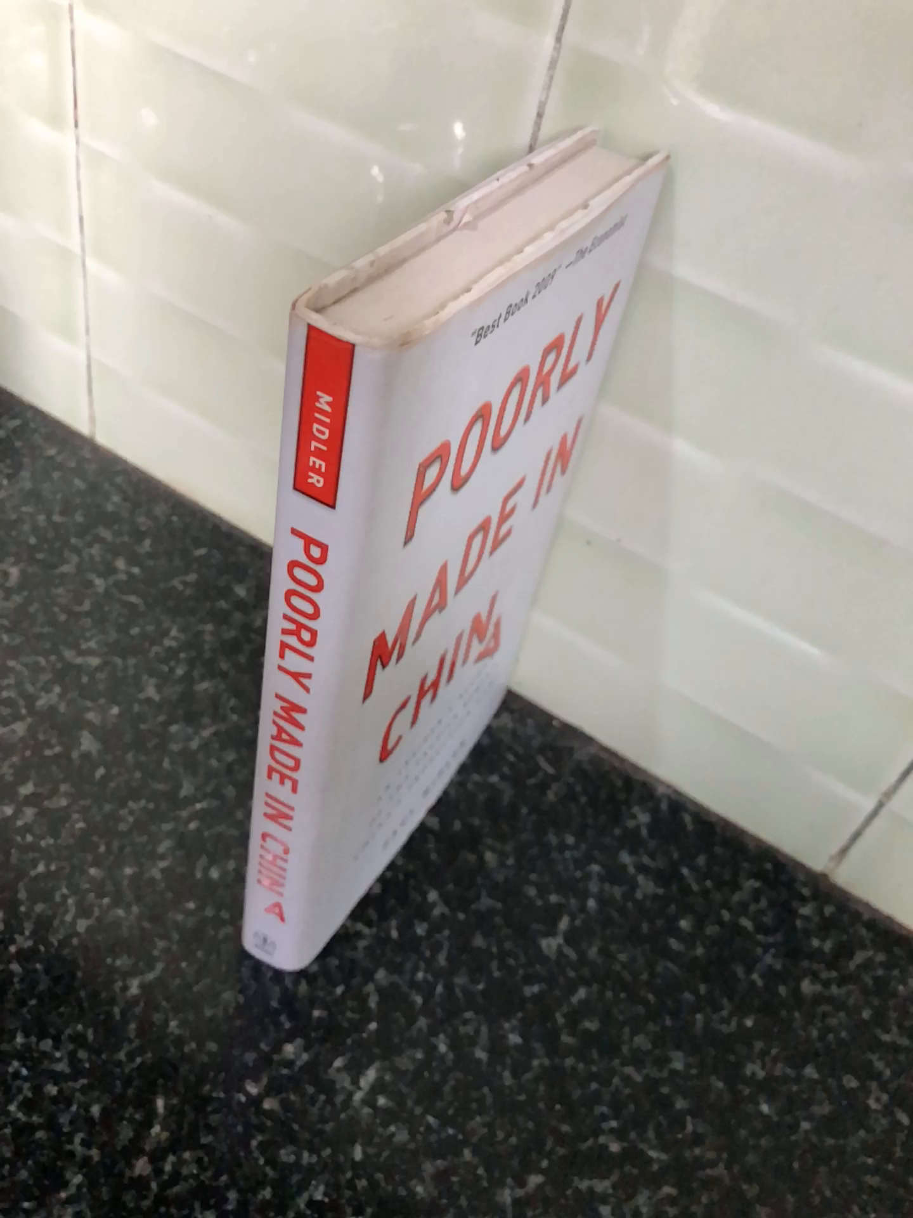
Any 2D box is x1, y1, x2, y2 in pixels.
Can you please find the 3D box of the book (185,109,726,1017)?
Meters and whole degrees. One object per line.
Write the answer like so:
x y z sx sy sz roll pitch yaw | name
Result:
-0.003 -0.013 0.313 0.040 0.219 0.191 27 43 13 | book
